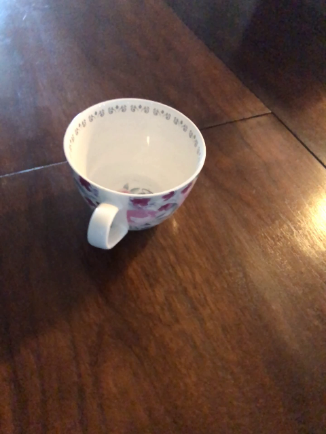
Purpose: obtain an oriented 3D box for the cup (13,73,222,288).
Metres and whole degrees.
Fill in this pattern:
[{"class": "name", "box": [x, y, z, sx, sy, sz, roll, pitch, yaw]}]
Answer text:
[{"class": "cup", "box": [-0.027, -0.040, 0.320, 0.120, 0.070, 0.160, 16, 52, 5]}]
